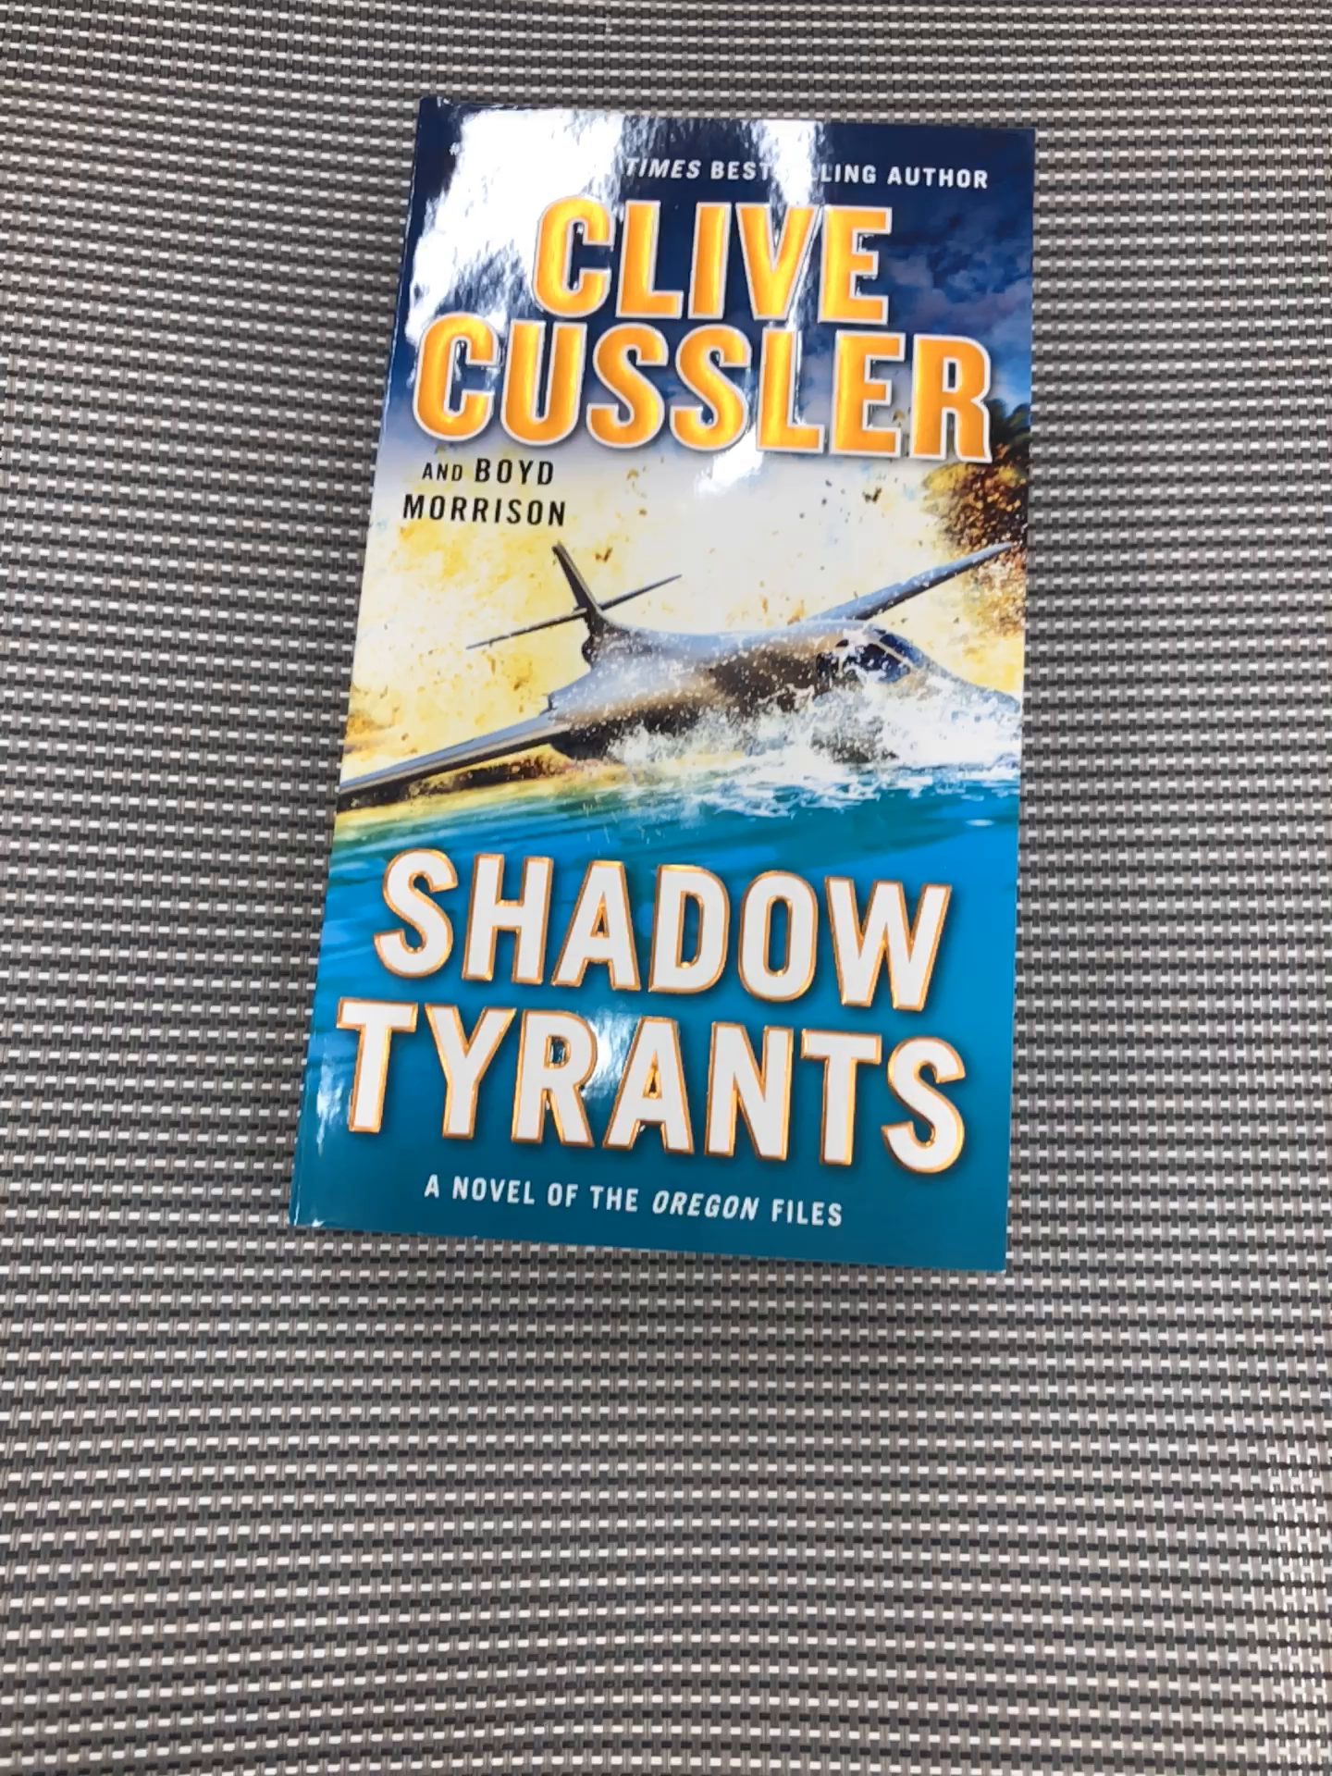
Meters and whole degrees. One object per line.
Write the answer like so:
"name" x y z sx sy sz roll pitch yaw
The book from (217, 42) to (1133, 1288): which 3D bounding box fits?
"book" 0.006 -0.034 0.242 0.120 0.060 0.180 4 78 -1
